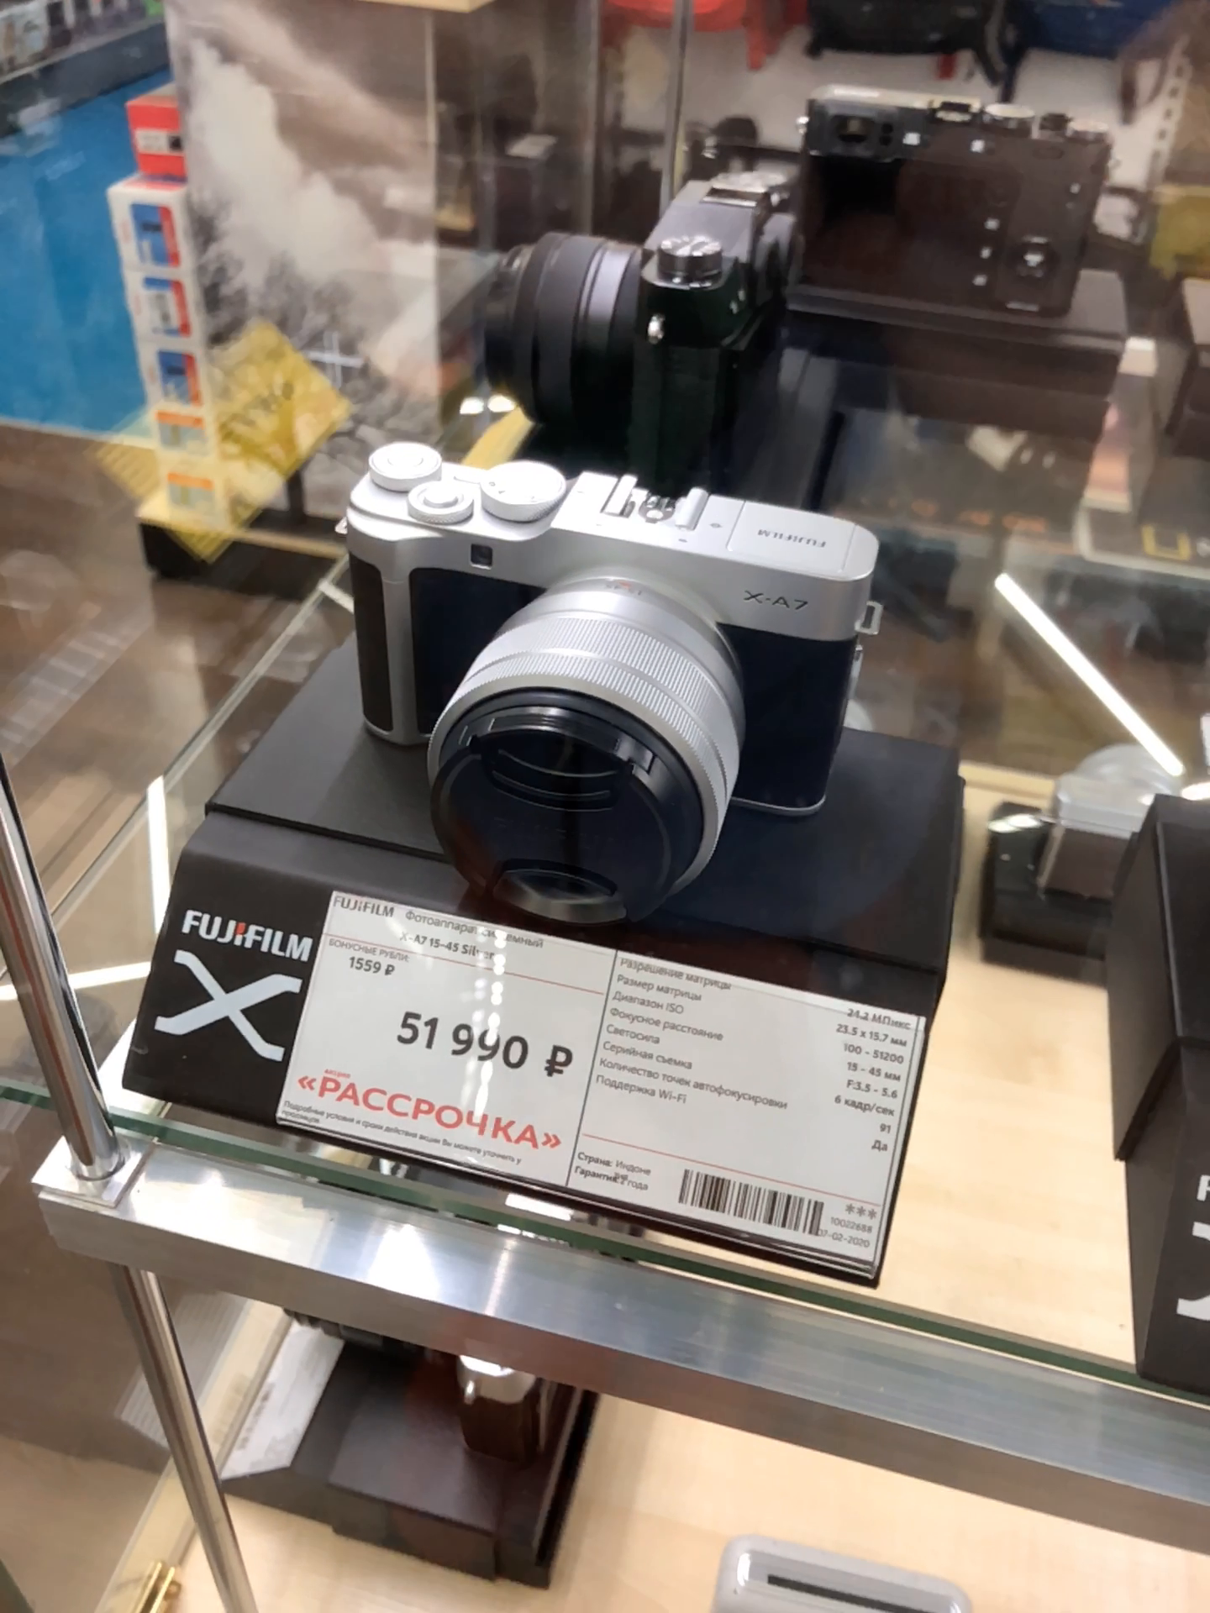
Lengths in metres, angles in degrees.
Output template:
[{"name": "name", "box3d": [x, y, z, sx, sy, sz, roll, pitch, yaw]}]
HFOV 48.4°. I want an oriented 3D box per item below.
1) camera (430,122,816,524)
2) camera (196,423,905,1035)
[{"name": "camera", "box3d": [0.009, -0.163, 0.443, 0.097, 0.080, 0.116, 11, 41, 9]}, {"name": "camera", "box3d": [-0.008, -0.021, 0.302, 0.126, 0.080, 0.085, 13, 41, 11]}]
